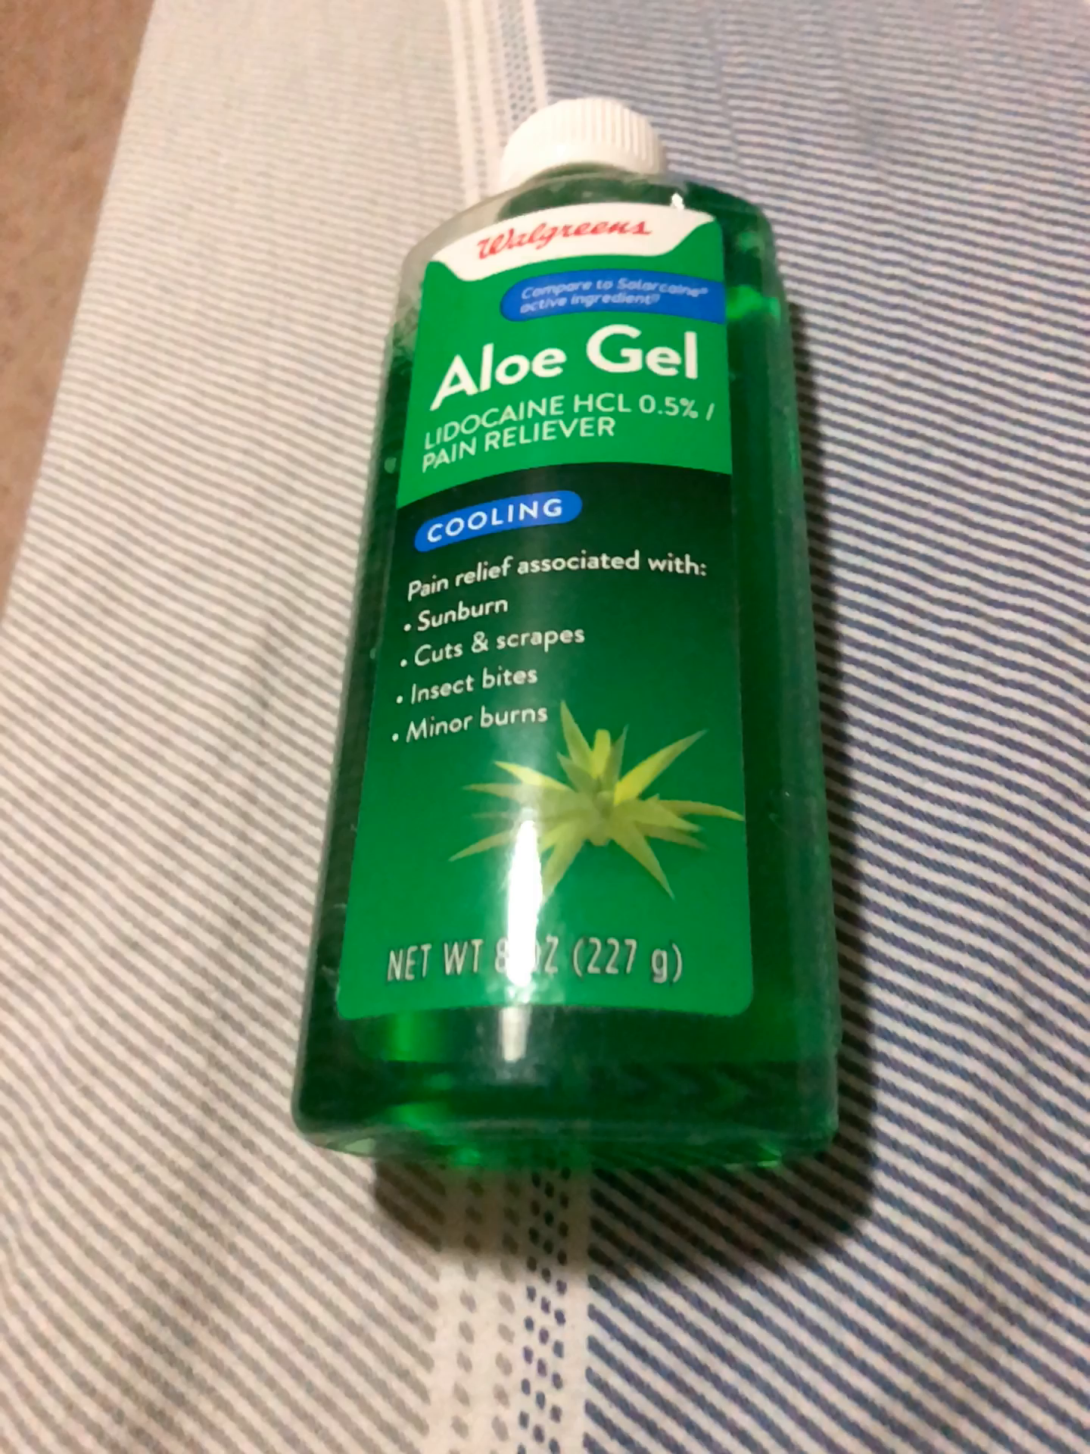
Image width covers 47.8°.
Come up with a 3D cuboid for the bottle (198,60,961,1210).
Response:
[{"bbox_3d":[0.008,-0.027,0.184,0.080,0.030,0.180,-1,61,8],"label":"bottle"}]
